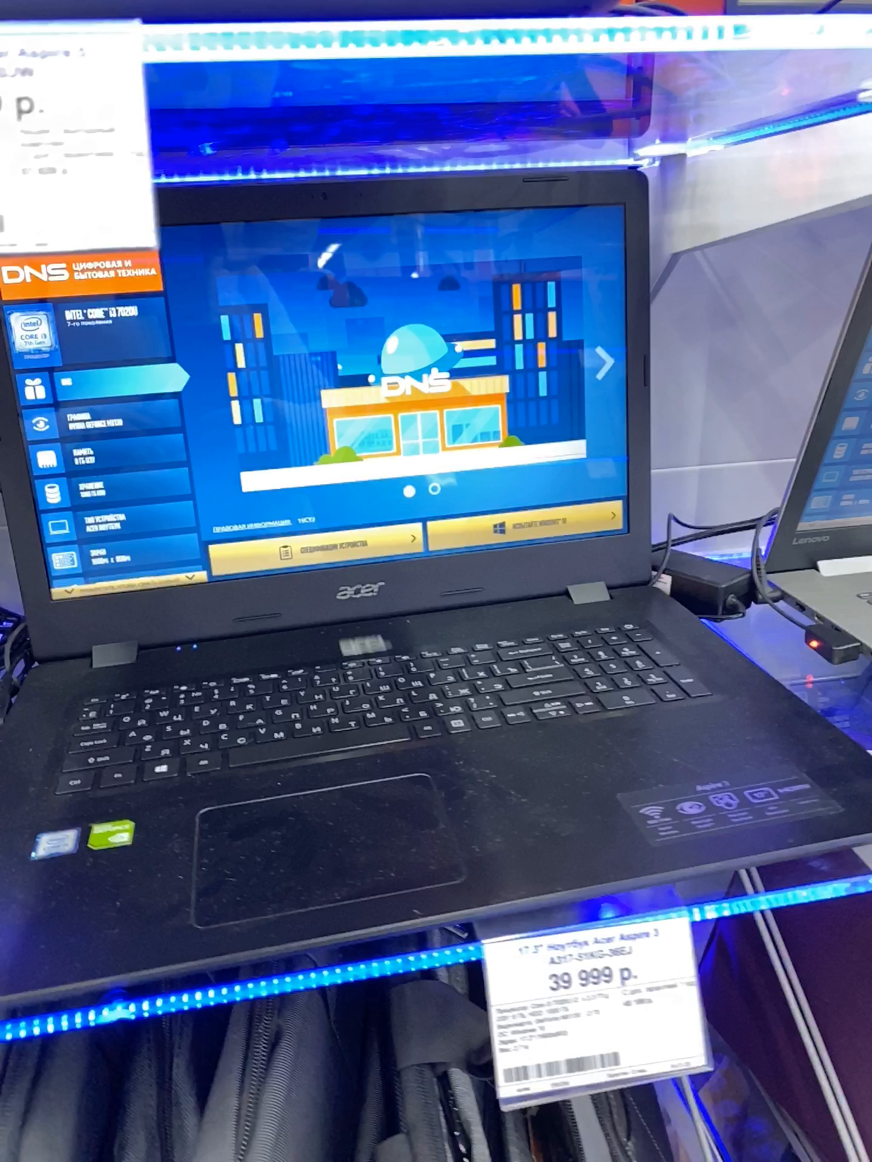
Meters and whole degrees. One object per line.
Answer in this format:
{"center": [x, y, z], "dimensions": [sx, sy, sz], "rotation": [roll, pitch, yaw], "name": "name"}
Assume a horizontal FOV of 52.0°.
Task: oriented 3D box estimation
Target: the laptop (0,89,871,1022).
{"center": [-0.026, -0.059, 0.443], "dimensions": [0.421, 0.273, 0.328], "rotation": [-6, 21, -10], "name": "laptop"}
